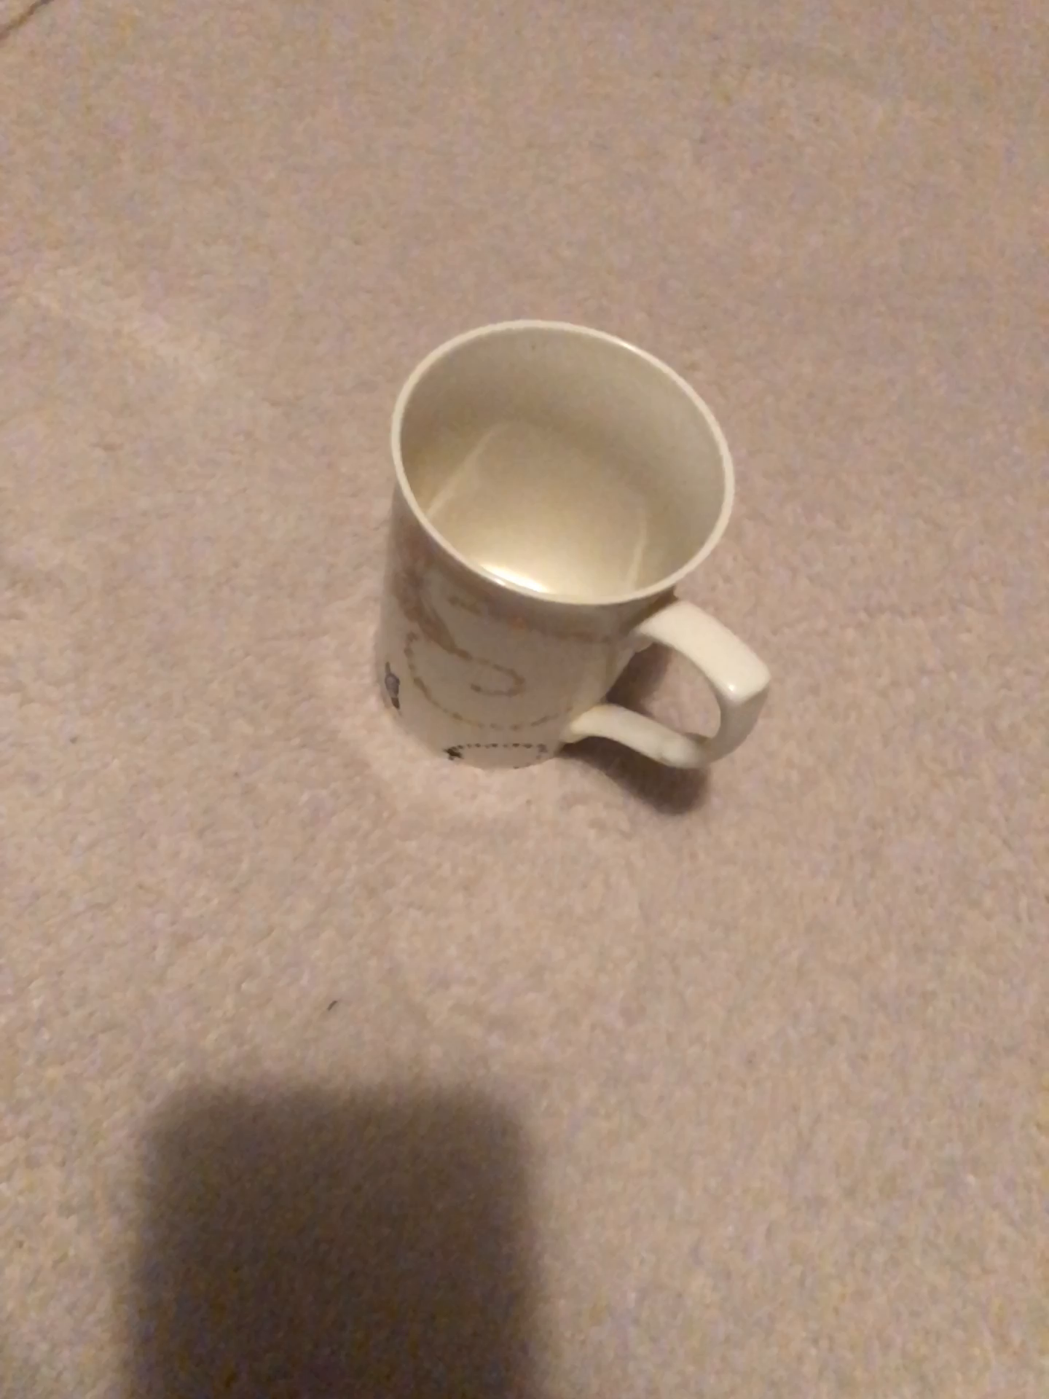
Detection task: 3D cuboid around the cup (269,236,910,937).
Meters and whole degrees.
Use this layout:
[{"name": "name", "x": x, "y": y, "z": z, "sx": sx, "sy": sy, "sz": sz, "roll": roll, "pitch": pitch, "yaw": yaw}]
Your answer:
[{"name": "cup", "x": 0.006, "y": -0.021, "z": 0.285, "sx": 0.112, "sy": 0.110, "sz": 0.073, "roll": 42, "pitch": 65, "yaw": 13}]
